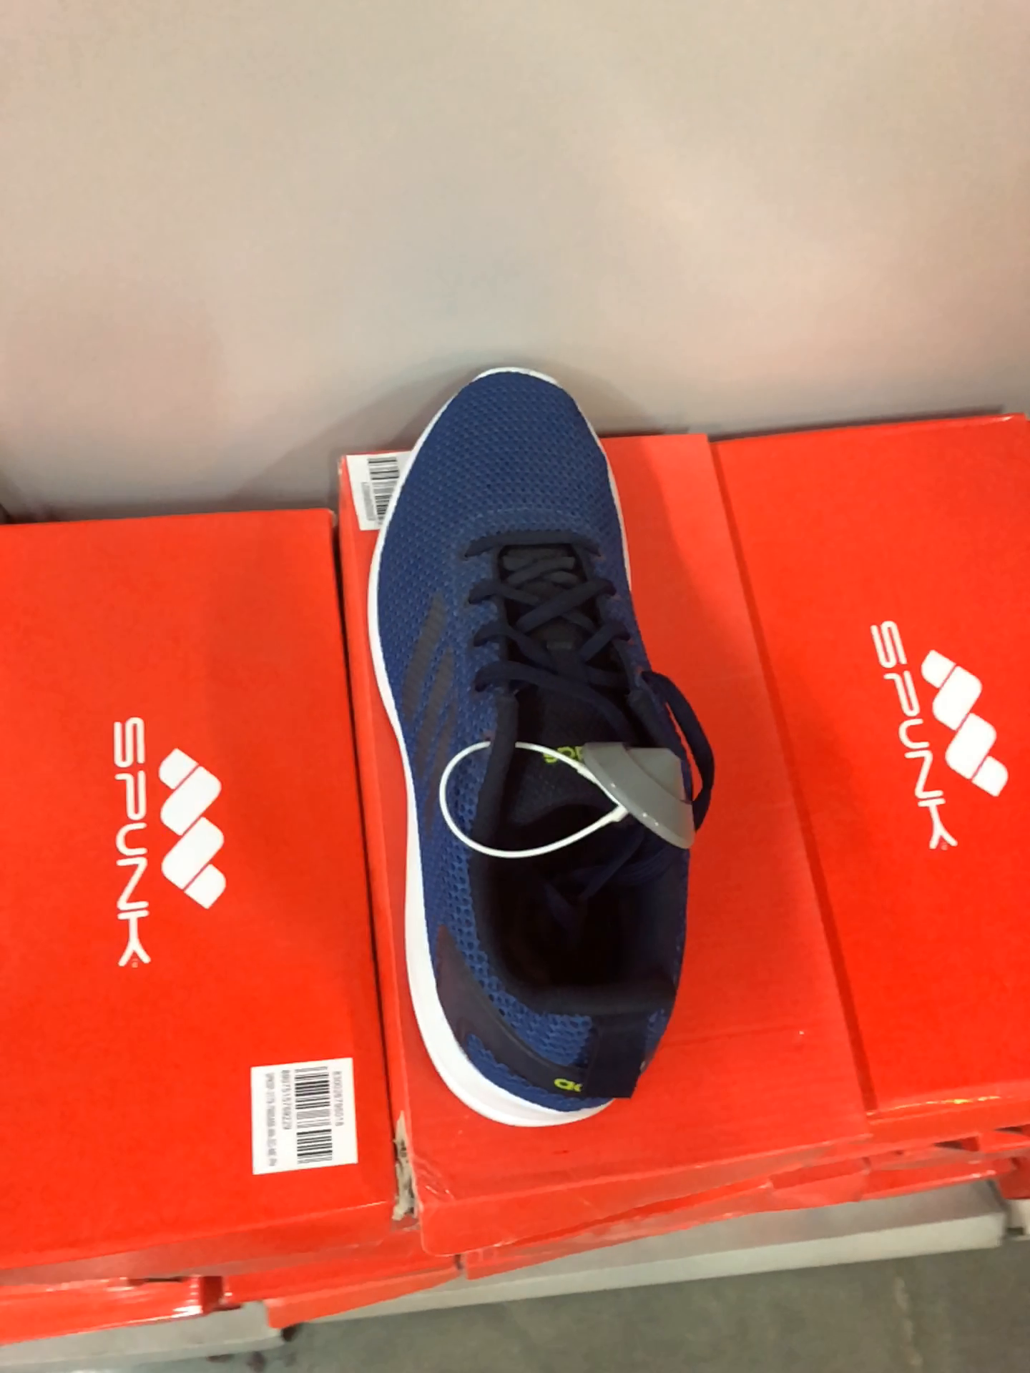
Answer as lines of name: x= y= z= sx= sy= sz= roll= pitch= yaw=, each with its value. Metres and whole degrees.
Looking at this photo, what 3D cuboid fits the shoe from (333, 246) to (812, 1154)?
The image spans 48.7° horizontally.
shoe: x=0.001 y=-0.007 z=0.427 sx=0.113 sy=0.114 sz=0.316 roll=-4 pitch=63 yaw=-8
